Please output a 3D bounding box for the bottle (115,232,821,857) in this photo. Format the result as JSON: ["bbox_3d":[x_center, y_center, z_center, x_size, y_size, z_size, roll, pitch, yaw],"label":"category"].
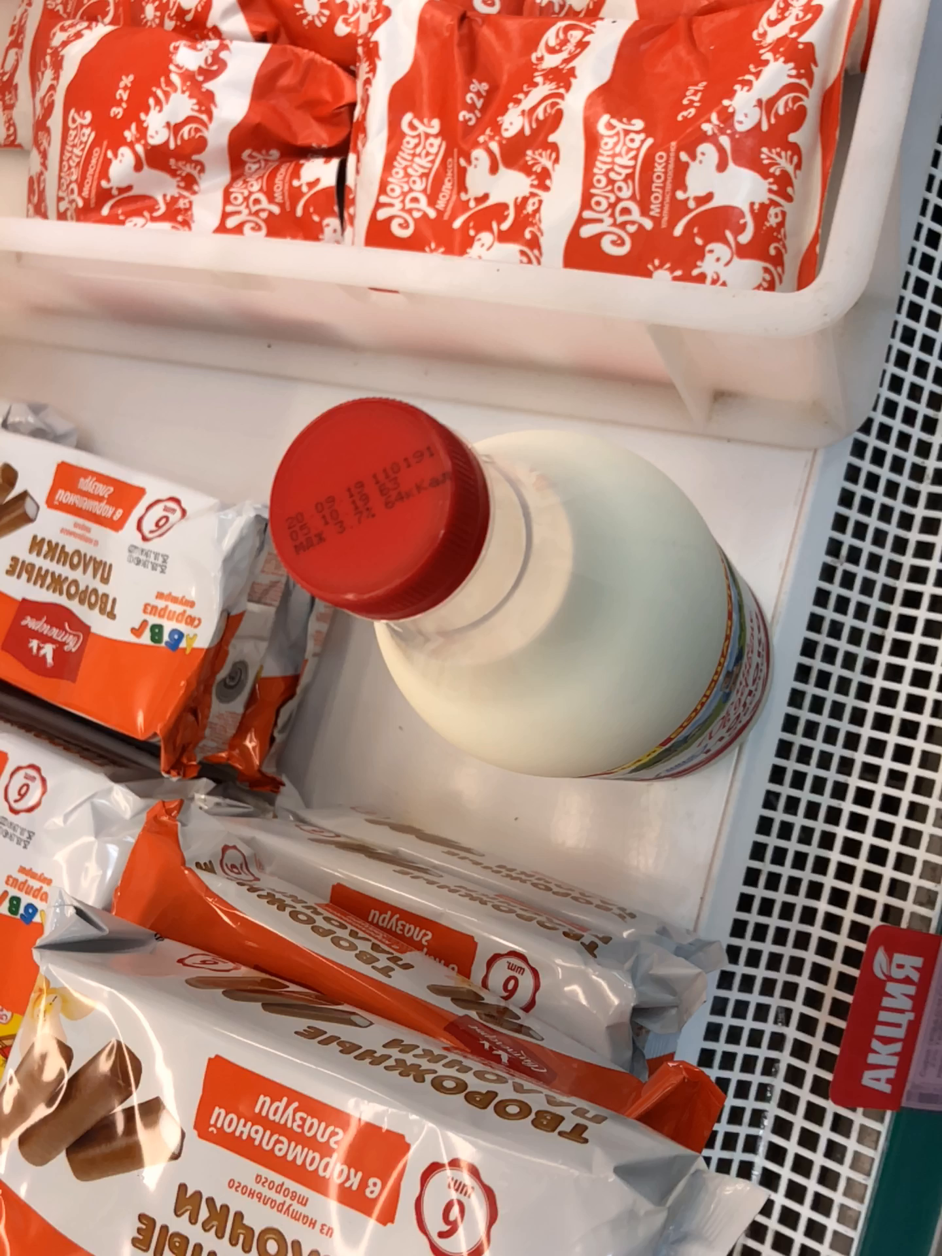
[{"bbox_3d":[0.032,-0.005,0.311,0.100,0.249,0.100,-3,81,22],"label":"bottle"}]
